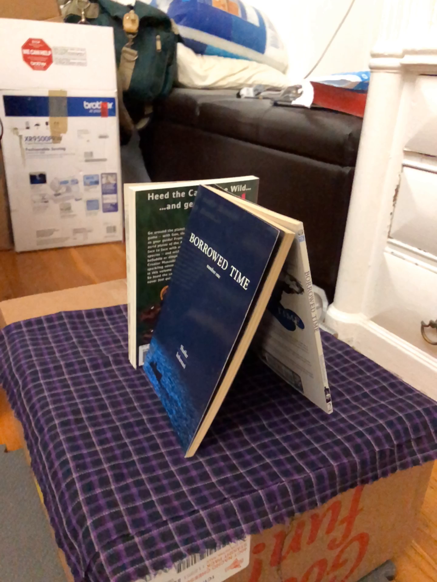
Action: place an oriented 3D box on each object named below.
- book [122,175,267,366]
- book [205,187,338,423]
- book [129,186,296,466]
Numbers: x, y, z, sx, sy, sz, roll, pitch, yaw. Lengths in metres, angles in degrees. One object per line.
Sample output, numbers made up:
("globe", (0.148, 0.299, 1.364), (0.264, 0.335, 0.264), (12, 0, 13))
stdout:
("book", (-0.027, -0.020, 0.499), (0.140, 0.189, 0.020), (-11, 34, -30))
("book", (0.049, 0.012, 0.448), (0.010, 0.199, 0.140), (-27, 33, -19))
("book", (-0.020, 0.021, 0.424), (0.010, 0.199, 0.151), (13, 17, -33))
